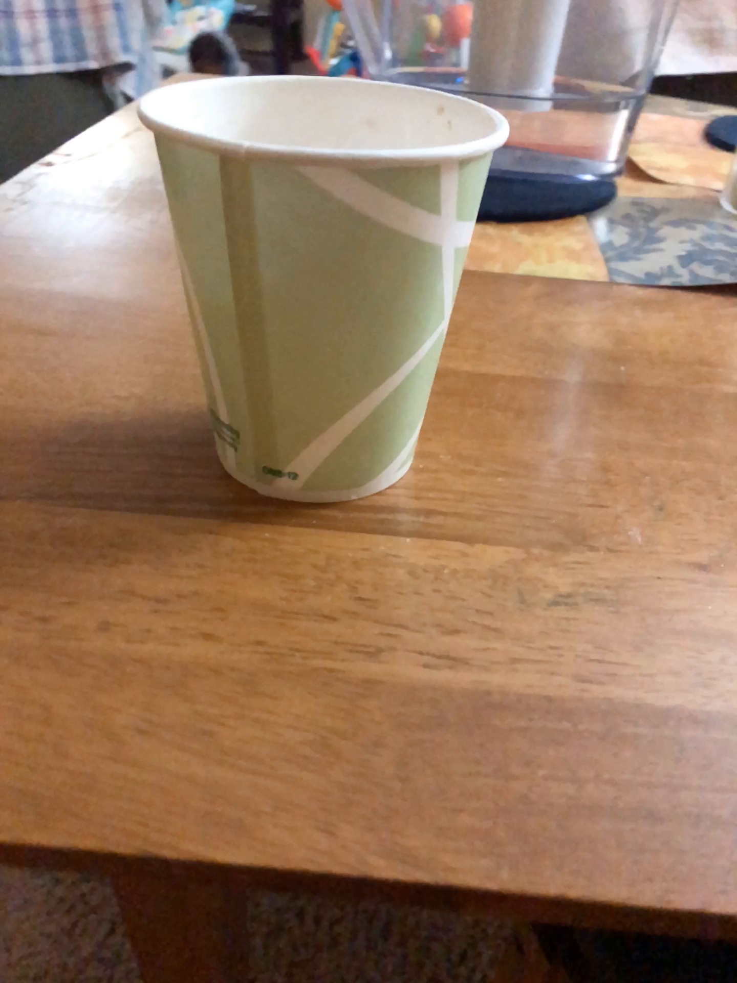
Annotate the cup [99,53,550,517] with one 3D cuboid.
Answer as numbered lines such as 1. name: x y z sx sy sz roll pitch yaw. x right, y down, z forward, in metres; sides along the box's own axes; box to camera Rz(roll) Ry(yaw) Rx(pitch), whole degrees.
1. cup: -0.008 -0.062 0.230 0.090 0.090 0.100 4 35 1
